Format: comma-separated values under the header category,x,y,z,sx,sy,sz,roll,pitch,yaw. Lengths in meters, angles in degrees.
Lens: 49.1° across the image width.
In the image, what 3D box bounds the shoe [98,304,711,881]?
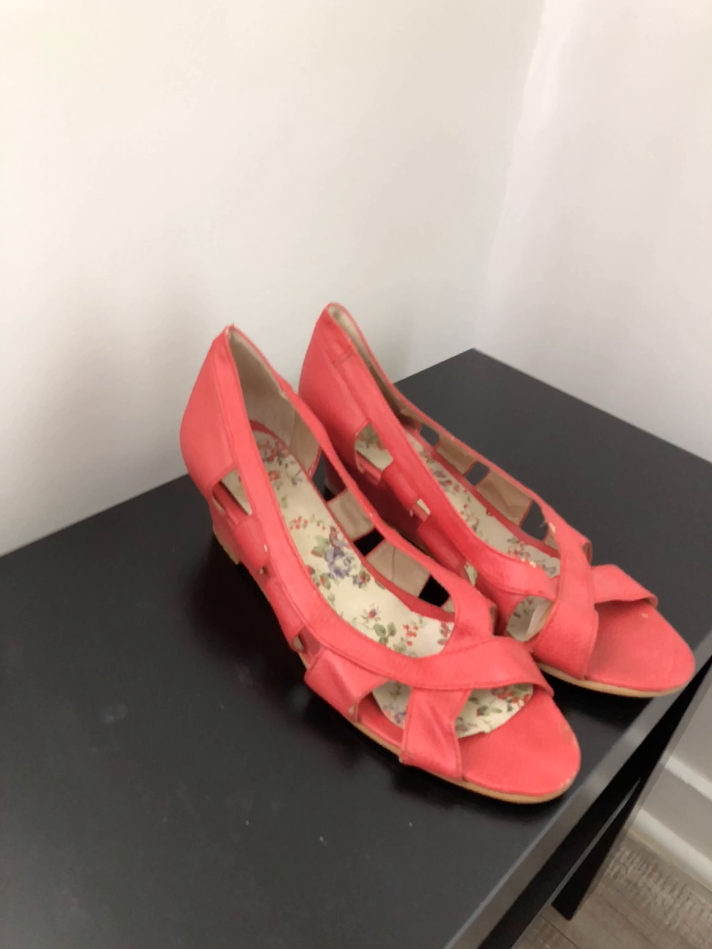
category,x,y,z,sx,sy,sz,roll,pitch,yaw
shoe,0.001,0.027,0.312,0.221,0.100,0.087,32,42,30

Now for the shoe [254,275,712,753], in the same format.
category,x,y,z,sx,sy,sz,roll,pitch,yaw
shoe,0.061,0.002,0.360,0.231,0.100,0.077,32,42,30
